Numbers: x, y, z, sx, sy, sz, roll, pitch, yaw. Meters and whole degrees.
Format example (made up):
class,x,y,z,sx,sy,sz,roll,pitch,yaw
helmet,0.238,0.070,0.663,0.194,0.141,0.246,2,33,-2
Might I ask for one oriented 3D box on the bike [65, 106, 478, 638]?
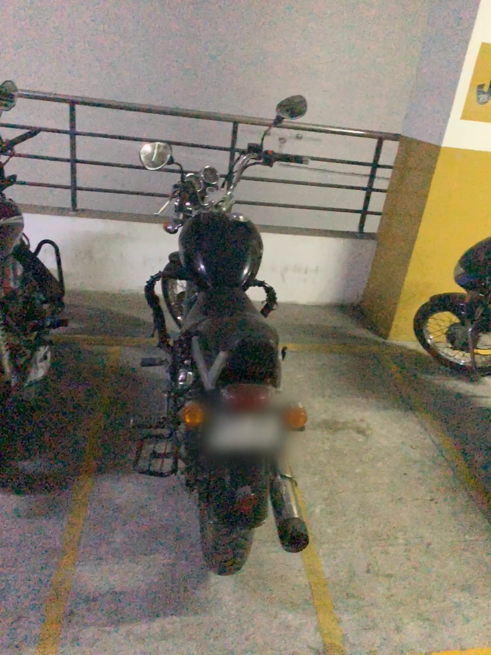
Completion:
class,x,y,z,sx,sy,sz,roll,pitch,yaw
bike,-0.217,-0.066,2.026,0.851,1.232,1.806,0,29,-15

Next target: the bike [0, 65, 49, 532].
class,x,y,z,sx,sy,sz,roll,pitch,yaw
bike,-1.371,-0.280,2.204,0.719,1.277,1.571,1,31,-12
